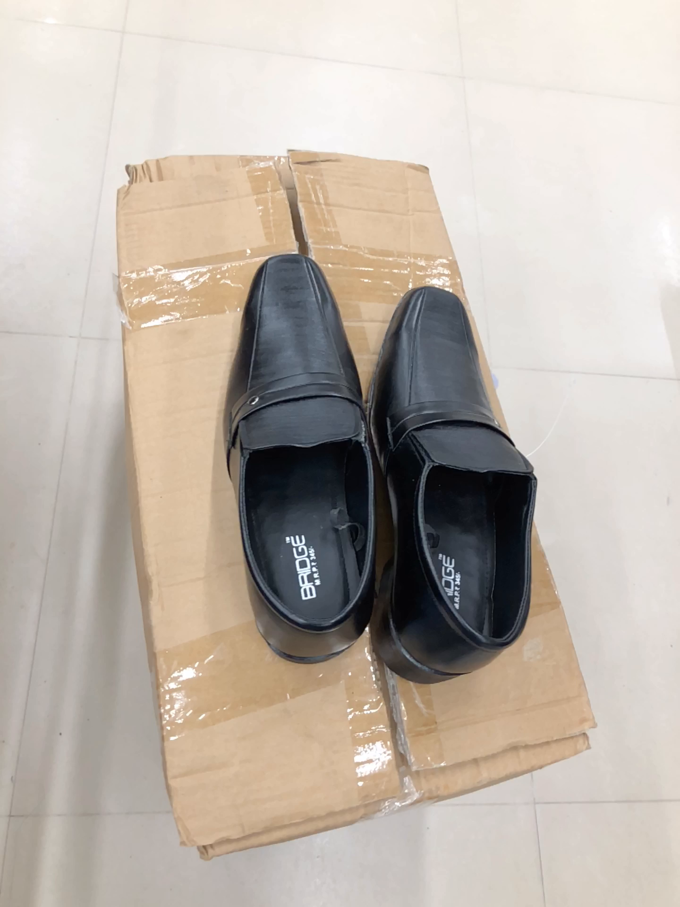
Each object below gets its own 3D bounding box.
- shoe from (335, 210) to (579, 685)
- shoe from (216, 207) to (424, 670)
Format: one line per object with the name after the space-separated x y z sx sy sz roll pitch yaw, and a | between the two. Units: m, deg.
0.069 0.000 0.546 0.100 0.129 0.311 7 66 -20 | shoe
-0.028 -0.011 0.524 0.100 0.129 0.291 -3 68 -10 | shoe
